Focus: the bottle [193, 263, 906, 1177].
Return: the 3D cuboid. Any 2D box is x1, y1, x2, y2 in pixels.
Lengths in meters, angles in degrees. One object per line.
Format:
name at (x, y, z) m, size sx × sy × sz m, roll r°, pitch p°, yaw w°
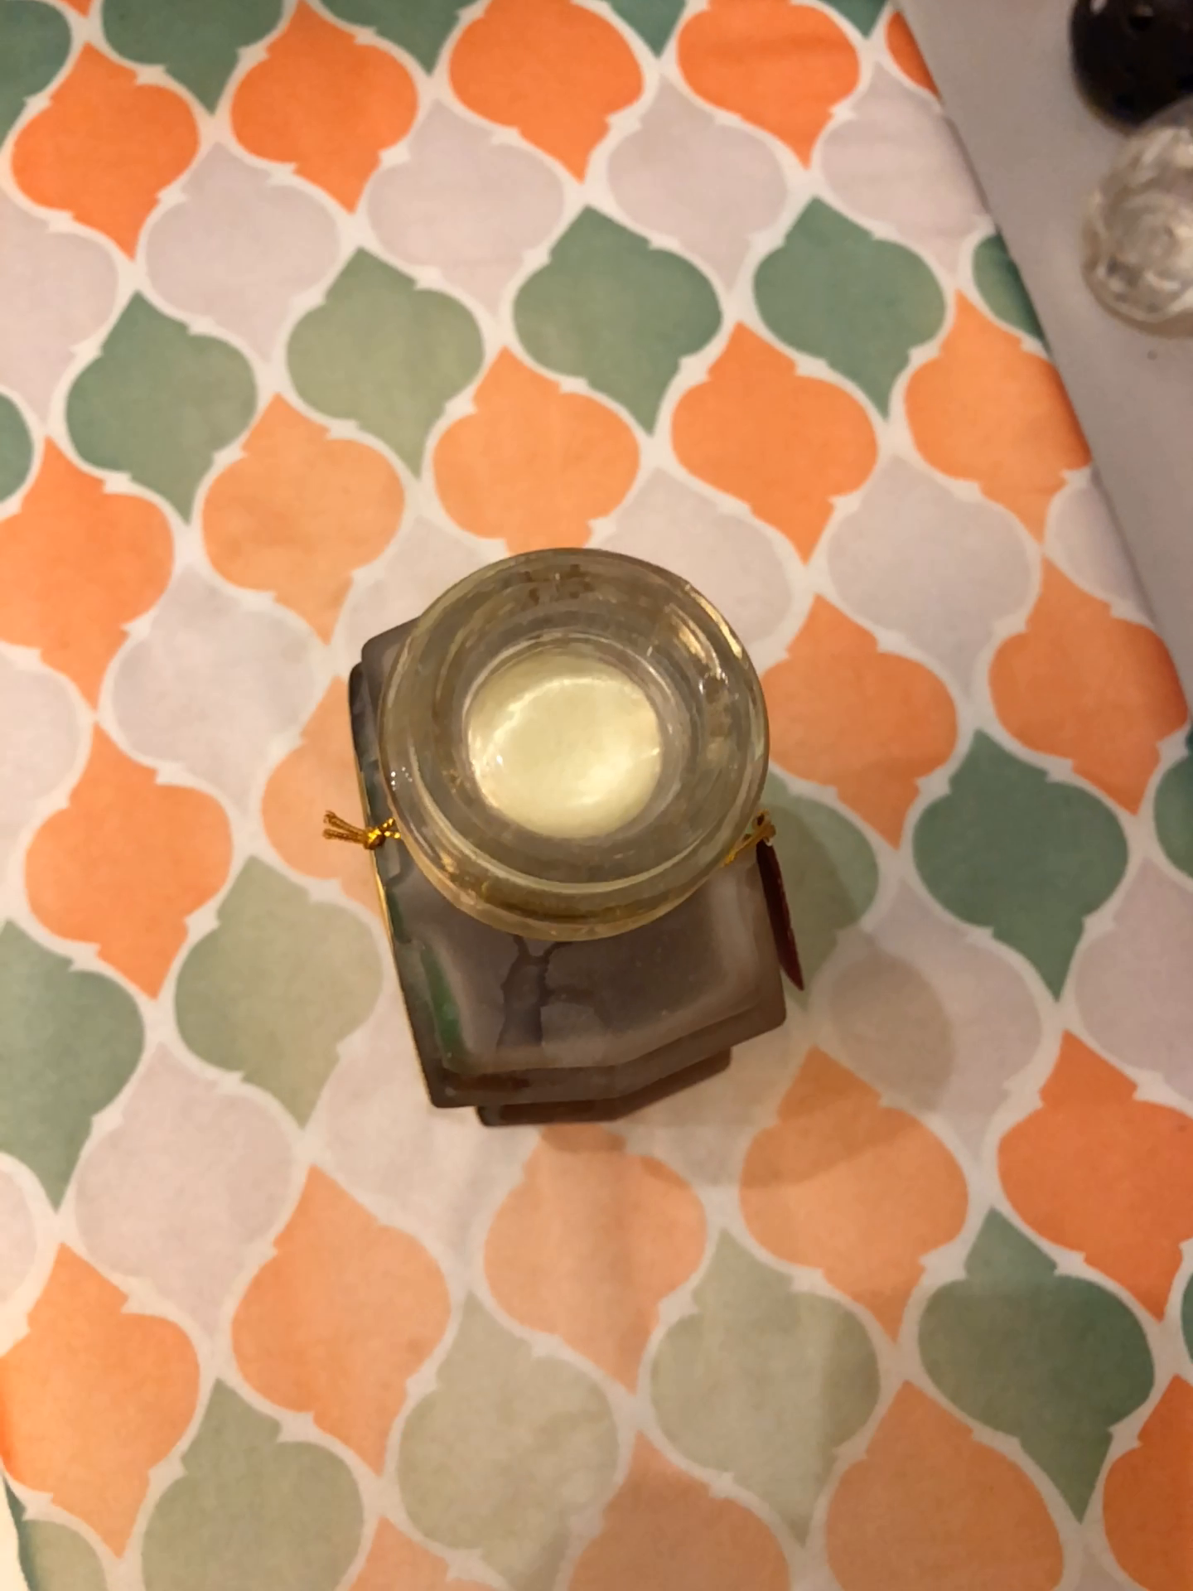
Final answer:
bottle at (-0.009, 0.011, 0.271) m, size 0.064 × 0.234 × 0.100 m, roll -13°, pitch 78°, yaw -3°
